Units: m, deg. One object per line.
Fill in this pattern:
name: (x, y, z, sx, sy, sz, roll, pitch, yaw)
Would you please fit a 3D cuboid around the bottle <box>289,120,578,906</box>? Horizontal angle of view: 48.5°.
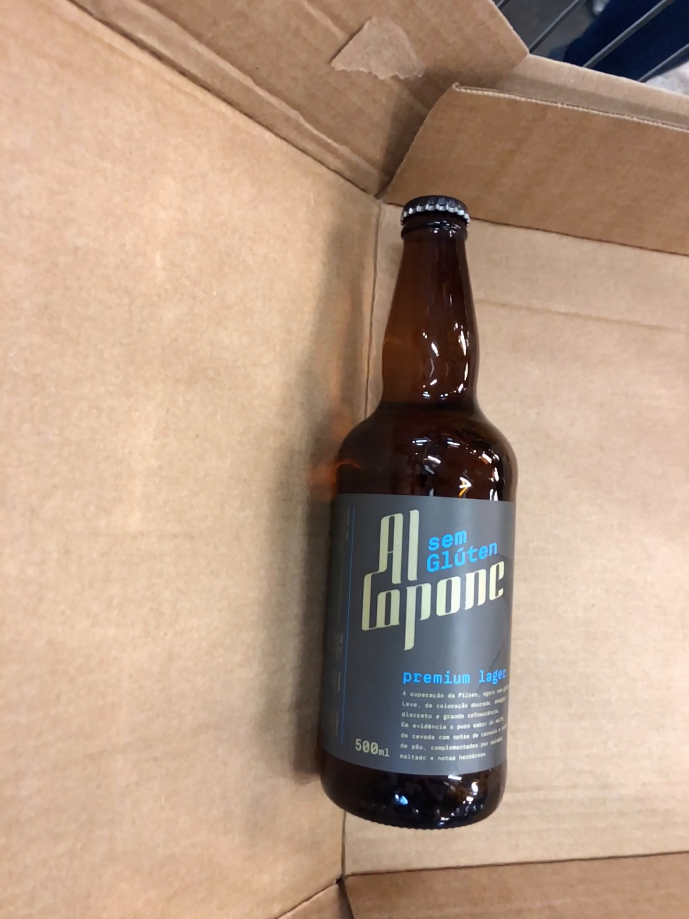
bottle: (0.033, 0.015, 0.280, 0.080, 0.060, 0.240, 5, 83, -30)
